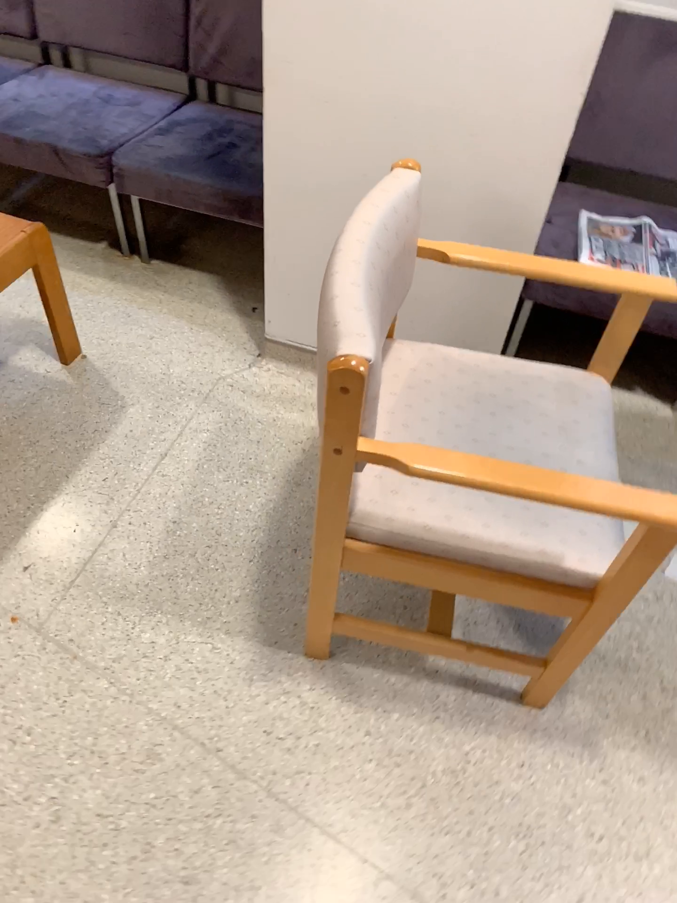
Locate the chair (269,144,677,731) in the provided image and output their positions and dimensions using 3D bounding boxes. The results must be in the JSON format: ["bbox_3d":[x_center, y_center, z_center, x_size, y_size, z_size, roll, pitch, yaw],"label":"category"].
[{"bbox_3d":[0.273,-0.024,1.178,0.630,0.634,0.635,12,48,5],"label":"chair"}]
